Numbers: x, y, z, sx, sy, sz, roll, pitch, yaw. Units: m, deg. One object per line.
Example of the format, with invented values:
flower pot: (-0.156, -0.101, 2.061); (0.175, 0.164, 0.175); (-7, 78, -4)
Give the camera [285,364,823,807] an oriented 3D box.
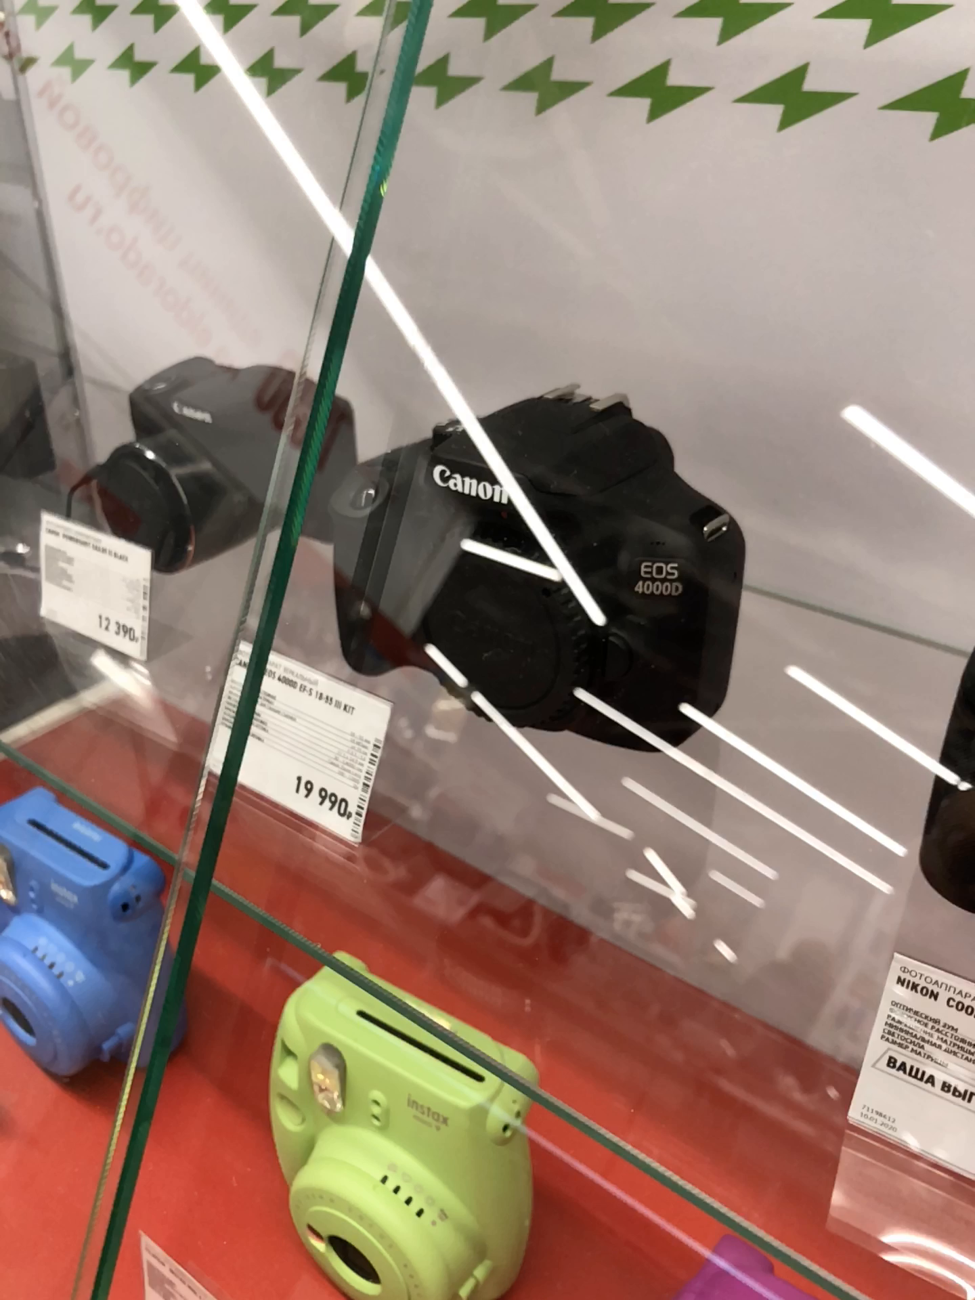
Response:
camera: (0.021, -0.031, 0.360); (0.136, 0.083, 0.100); (20, 35, 30)
